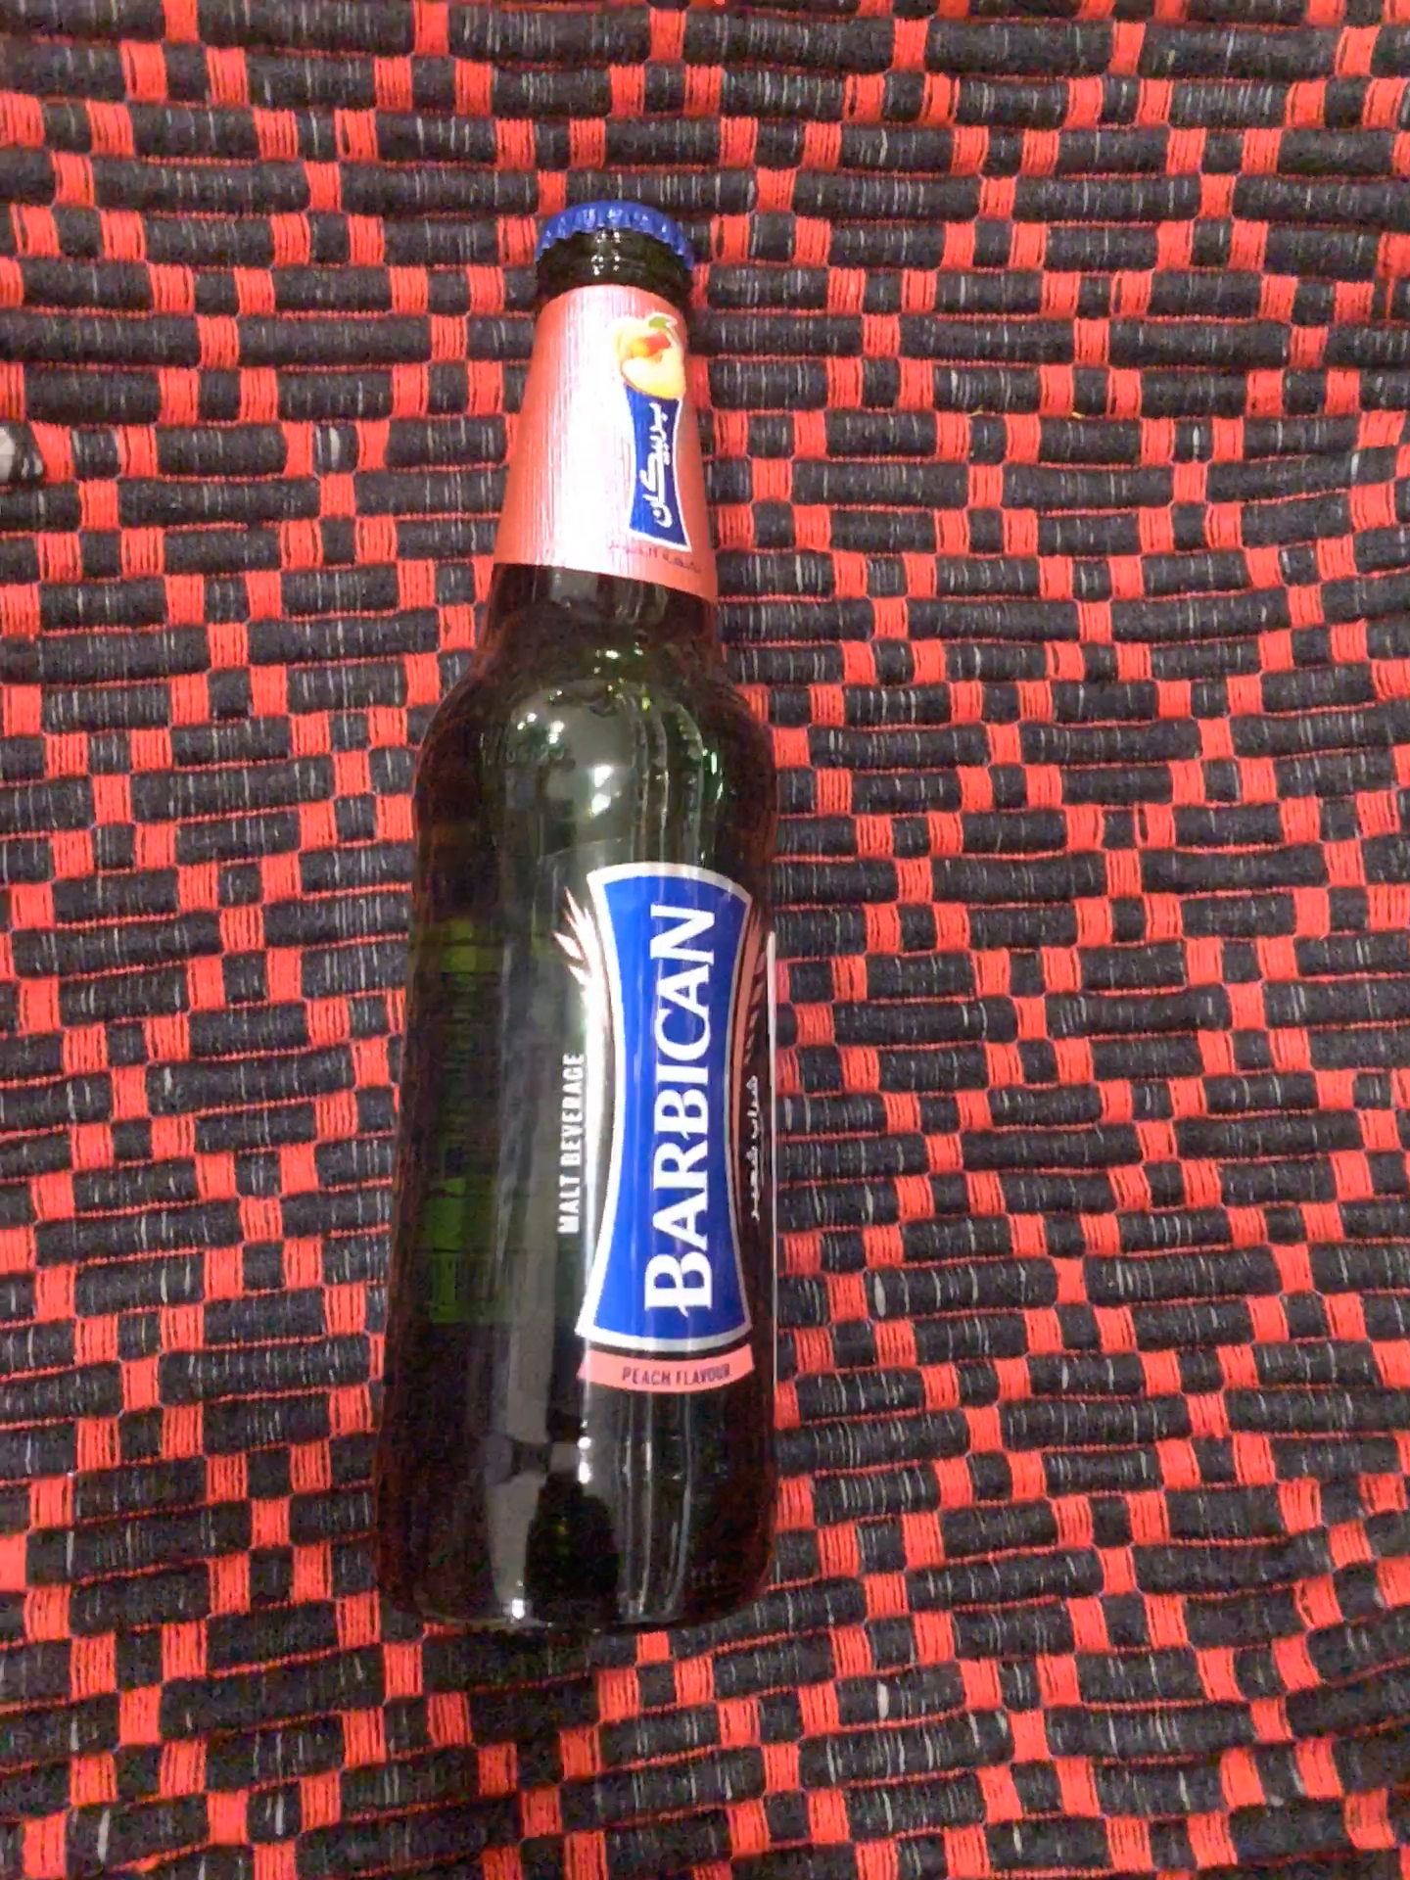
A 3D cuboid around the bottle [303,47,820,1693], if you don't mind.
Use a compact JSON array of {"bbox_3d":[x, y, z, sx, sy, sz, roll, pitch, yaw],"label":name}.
[{"bbox_3d":[-0.017,-0.015,0.222,0.050,0.050,0.220,-7,76,30],"label":"bottle"}]
